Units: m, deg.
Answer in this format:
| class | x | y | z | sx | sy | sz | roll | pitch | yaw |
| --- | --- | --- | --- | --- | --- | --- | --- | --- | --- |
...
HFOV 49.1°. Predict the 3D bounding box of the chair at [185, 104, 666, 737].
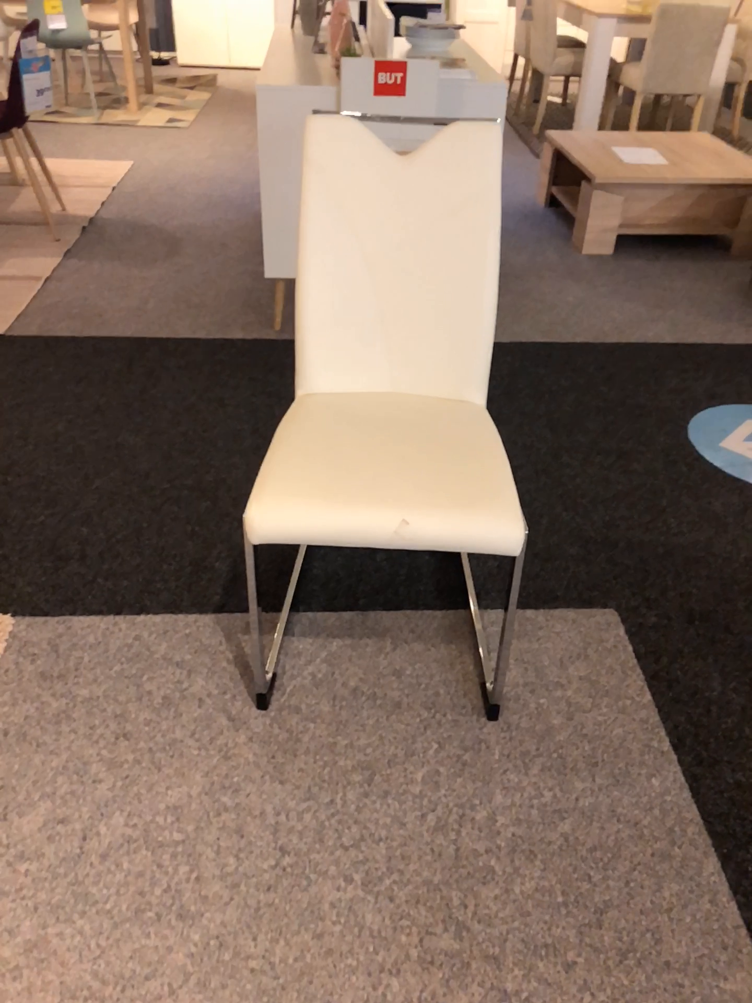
| class | x | y | z | sx | sy | sz | roll | pitch | yaw |
| --- | --- | --- | --- | --- | --- | --- | --- | --- | --- |
| chair | 0.040 | -0.140 | 1.478 | 0.560 | 0.914 | 0.634 | 2 | 35 | -2 |
